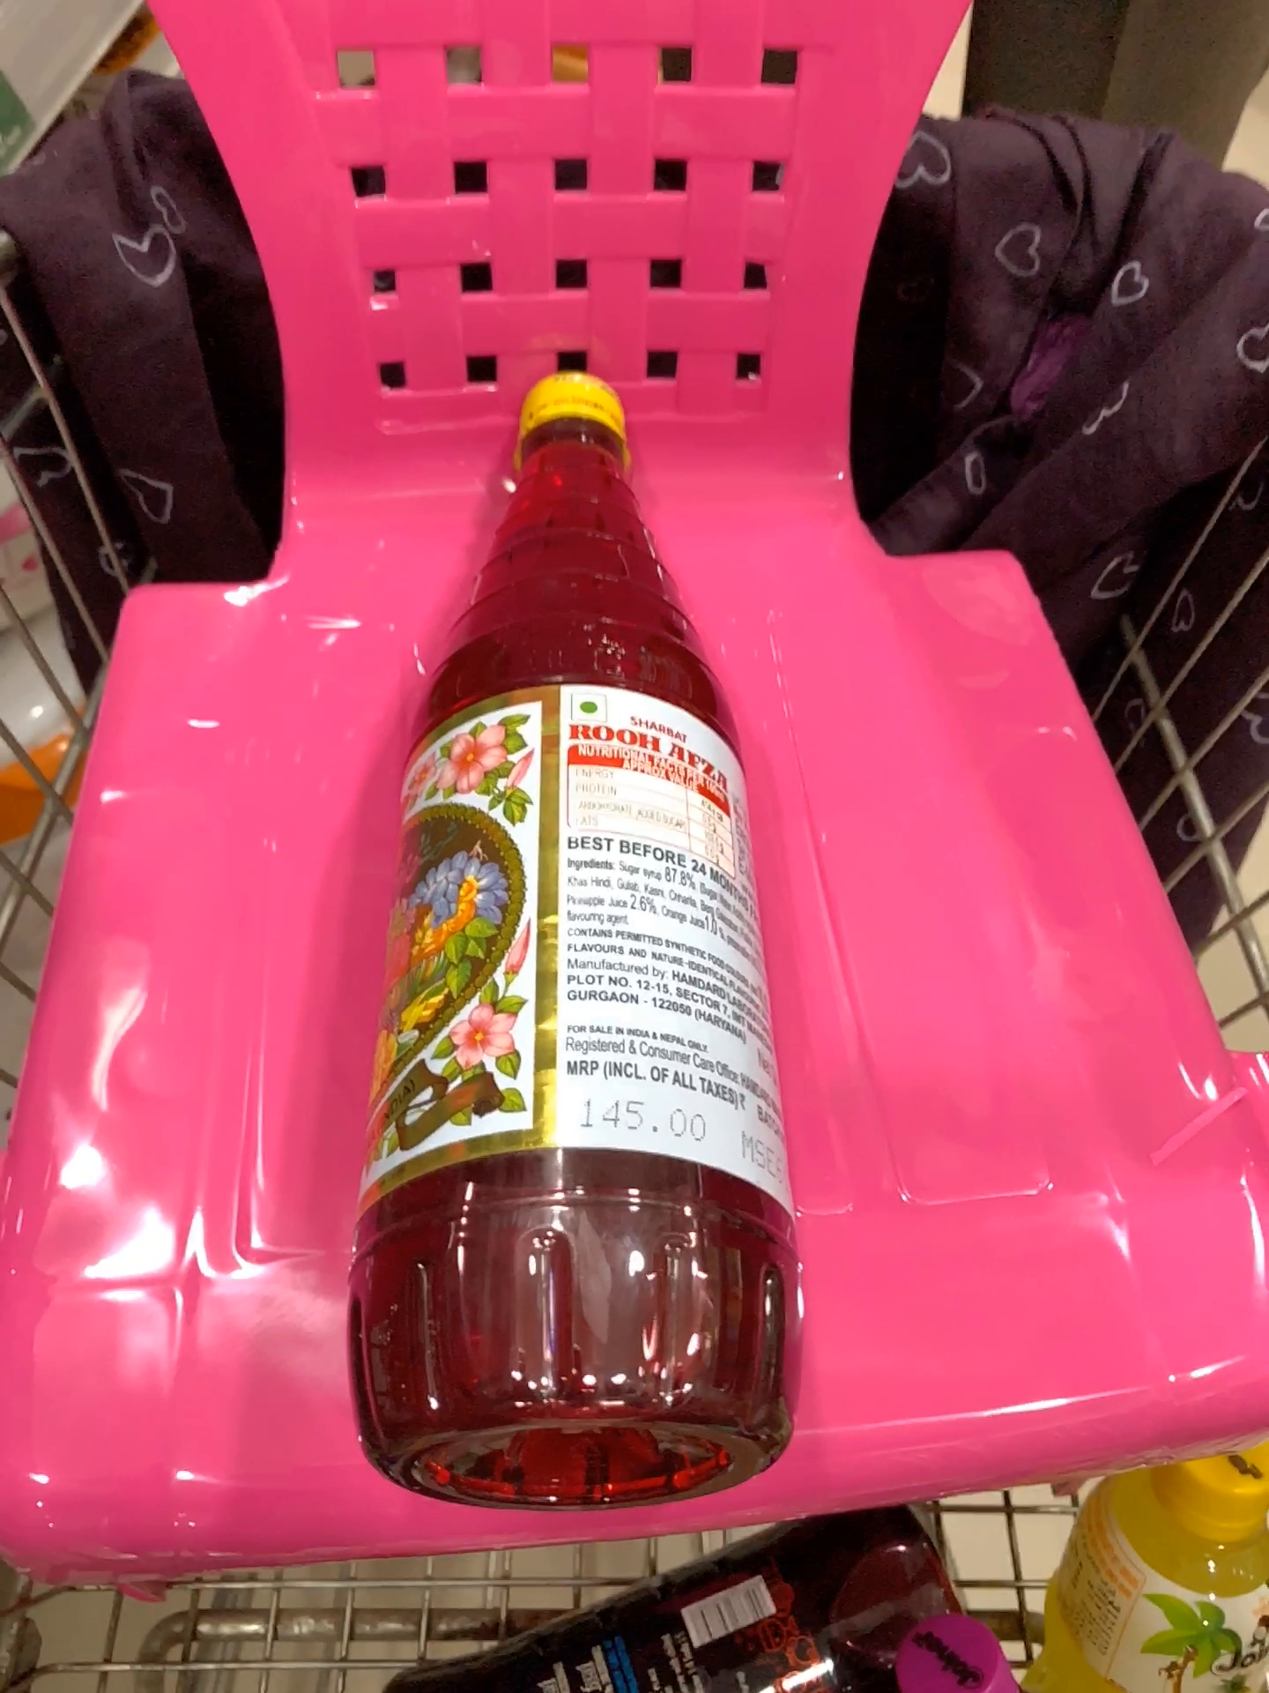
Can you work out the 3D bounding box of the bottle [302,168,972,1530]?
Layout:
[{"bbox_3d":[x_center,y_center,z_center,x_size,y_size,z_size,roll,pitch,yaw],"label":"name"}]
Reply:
[{"bbox_3d":[-0.006,-0.017,0.254,0.080,0.060,0.260,9,57,-17],"label":"bottle"}]
